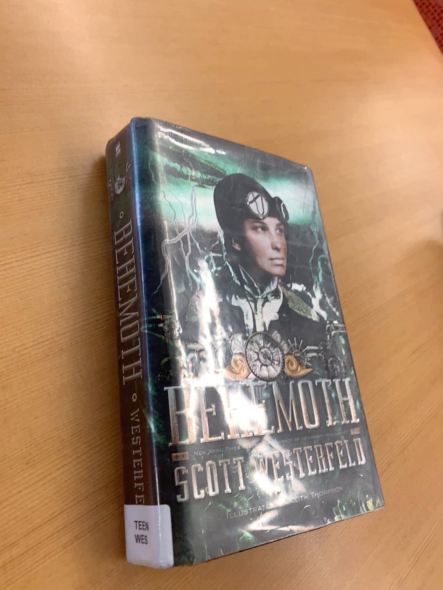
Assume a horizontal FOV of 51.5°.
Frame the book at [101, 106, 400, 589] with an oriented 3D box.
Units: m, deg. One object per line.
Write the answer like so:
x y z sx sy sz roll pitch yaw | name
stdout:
0.013 0.019 0.284 0.151 0.050 0.241 5 68 -33 | book
